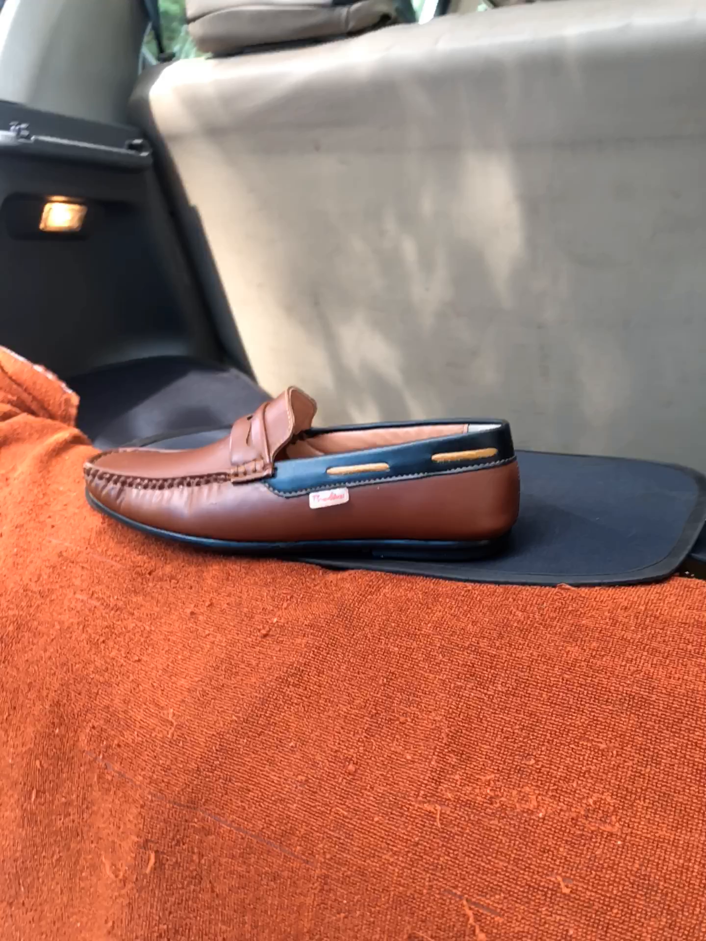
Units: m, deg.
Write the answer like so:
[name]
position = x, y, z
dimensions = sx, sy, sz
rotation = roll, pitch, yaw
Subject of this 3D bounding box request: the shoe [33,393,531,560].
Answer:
[shoe]
position = -0.035, 0.002, 0.487
dimensions = 0.280, 0.070, 0.110
rotation = -1, 16, 10
